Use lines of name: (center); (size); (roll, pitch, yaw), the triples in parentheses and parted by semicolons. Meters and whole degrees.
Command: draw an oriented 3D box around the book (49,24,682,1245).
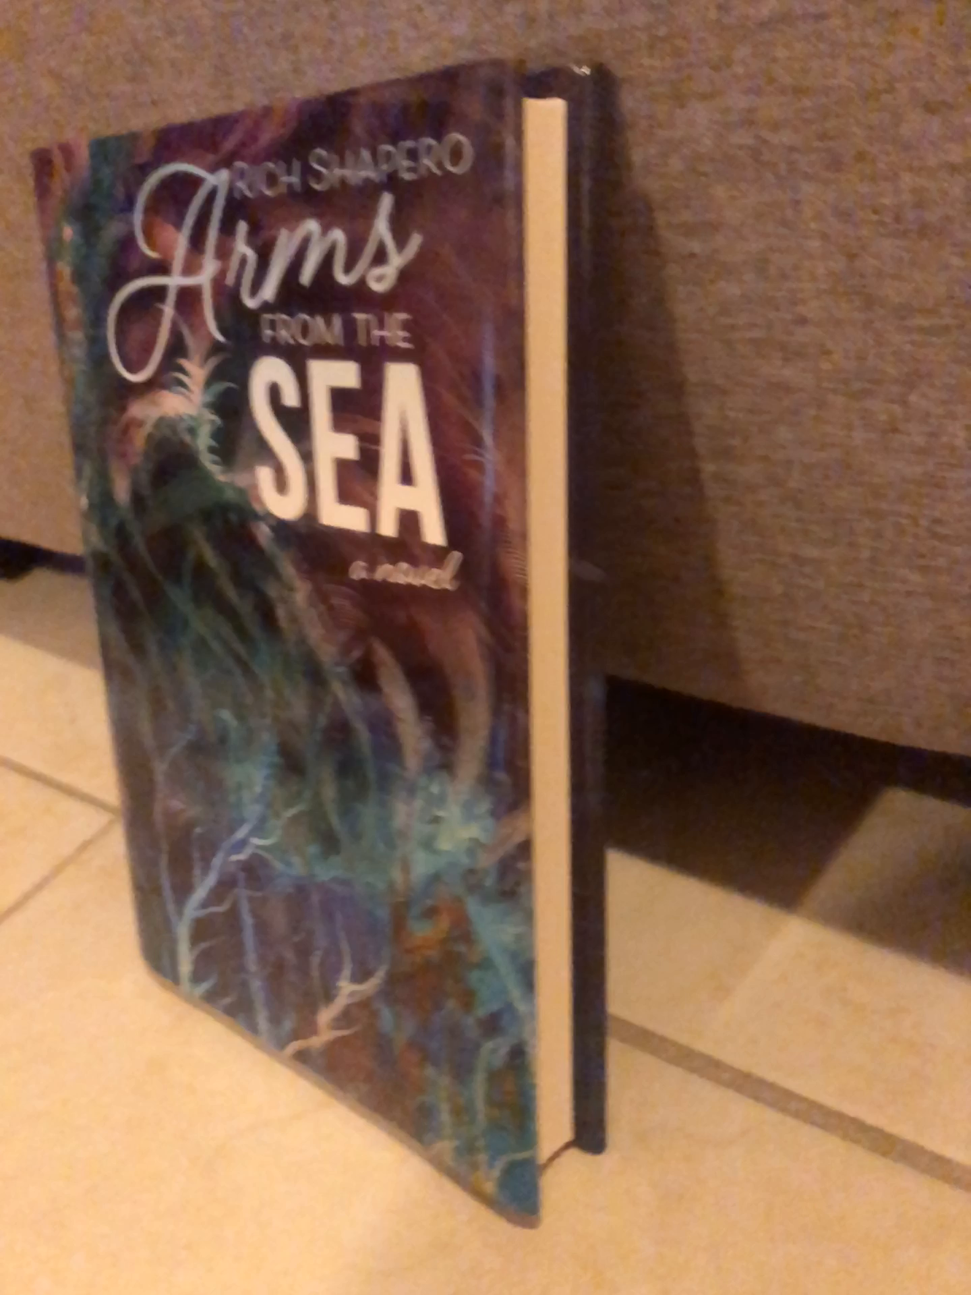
book: (-0.033, -0.002, 0.255); (0.157, 0.227, 0.030); (13, 22, 39)
